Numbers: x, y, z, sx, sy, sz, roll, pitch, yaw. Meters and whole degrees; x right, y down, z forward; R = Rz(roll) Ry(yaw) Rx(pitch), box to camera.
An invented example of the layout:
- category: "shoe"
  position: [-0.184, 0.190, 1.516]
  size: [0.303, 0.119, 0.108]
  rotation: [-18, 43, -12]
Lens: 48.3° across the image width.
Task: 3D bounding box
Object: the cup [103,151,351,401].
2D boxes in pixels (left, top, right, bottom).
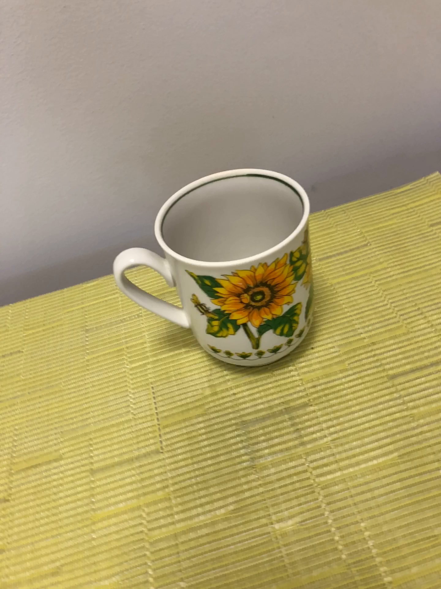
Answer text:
- category: "cup"
  position: [0.004, -0.012, 0.286]
  size: [0.116, 0.084, 0.088]
  rotation: [-14, 41, 1]
